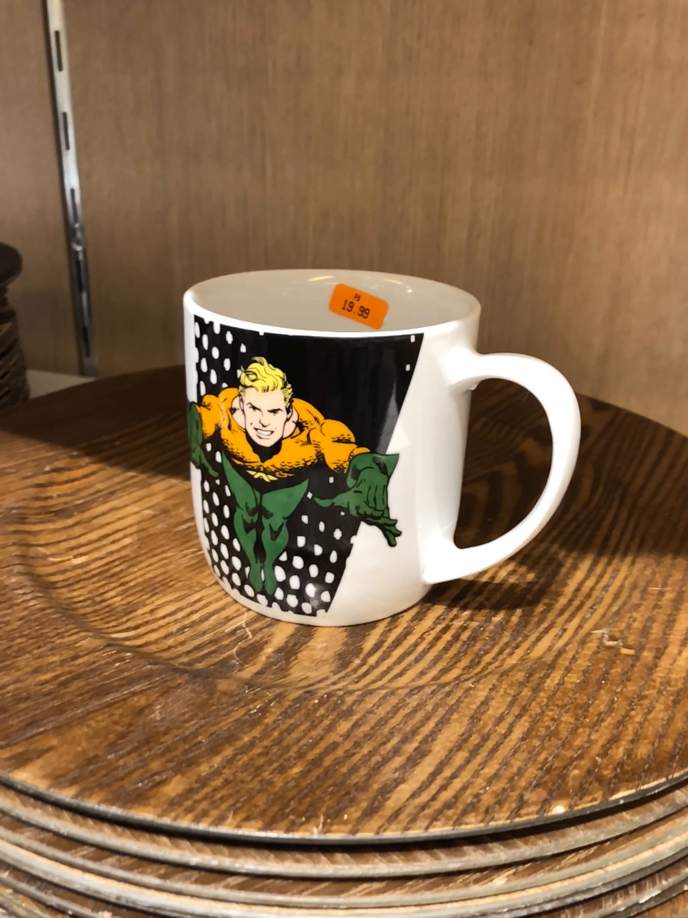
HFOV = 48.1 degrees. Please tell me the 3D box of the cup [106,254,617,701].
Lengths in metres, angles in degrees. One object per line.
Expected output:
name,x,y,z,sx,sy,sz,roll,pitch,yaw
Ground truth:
cup,0.009,-0.007,0.236,0.120,0.089,0.091,11,23,22
